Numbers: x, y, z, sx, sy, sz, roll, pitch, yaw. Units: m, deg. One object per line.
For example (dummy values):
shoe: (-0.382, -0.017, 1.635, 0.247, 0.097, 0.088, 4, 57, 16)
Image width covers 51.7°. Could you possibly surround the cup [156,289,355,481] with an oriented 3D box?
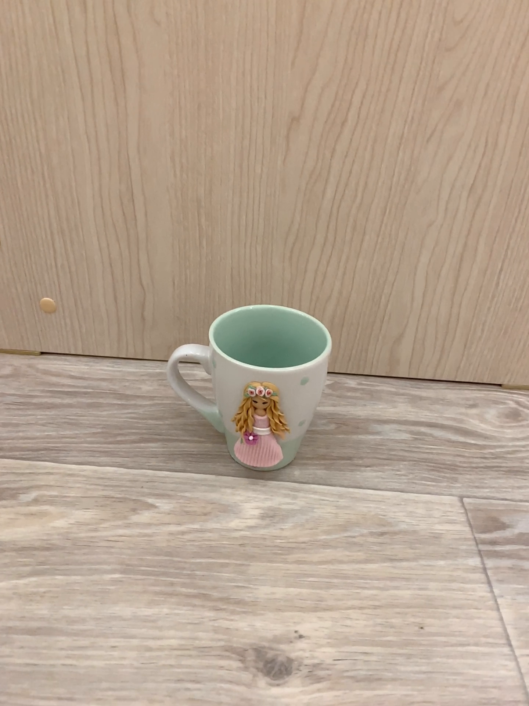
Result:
cup: (-0.005, 0.018, 0.365, 0.111, 0.080, 0.093, 5, 32, 1)
